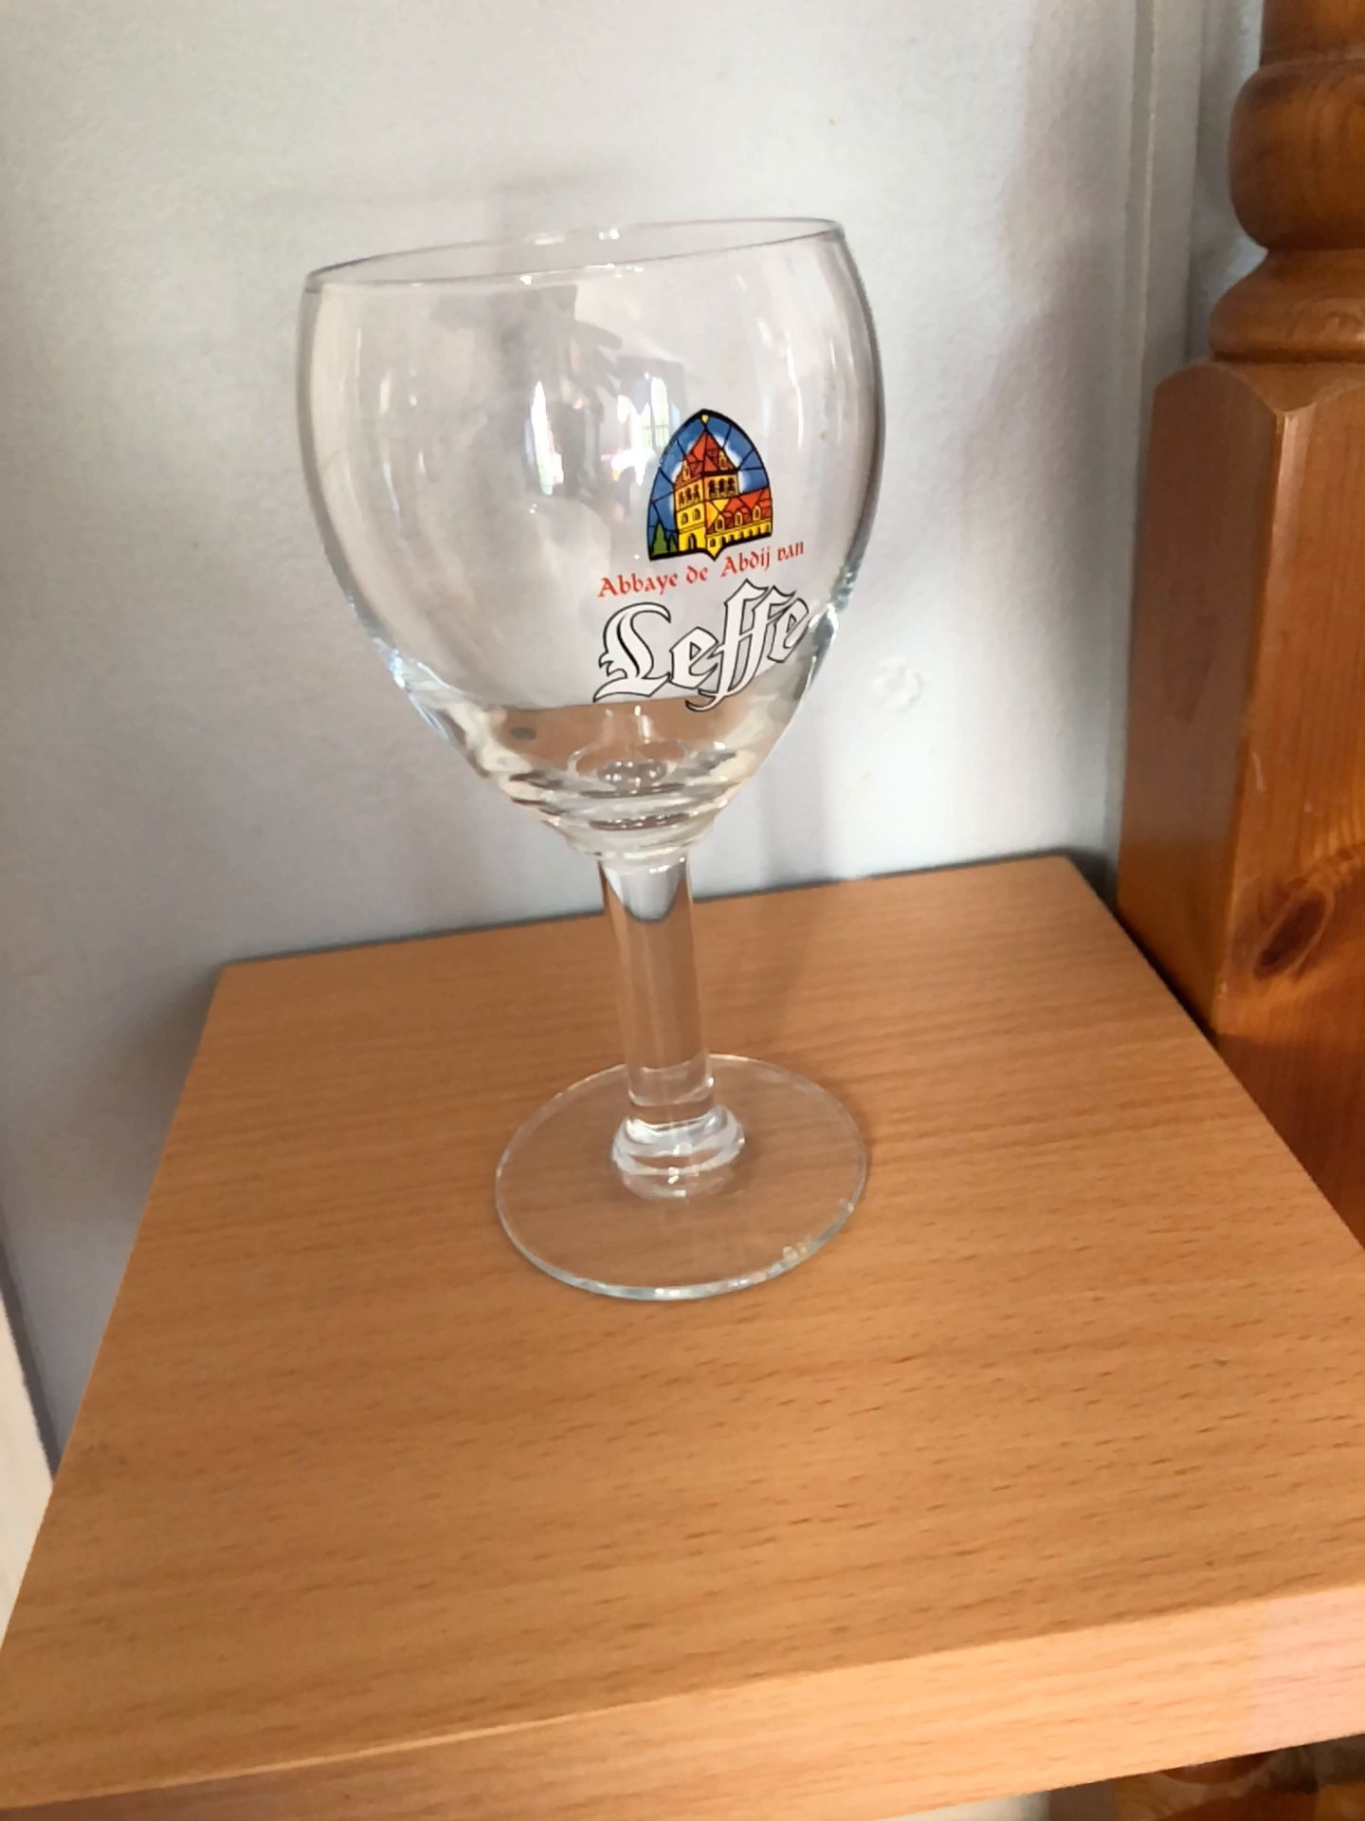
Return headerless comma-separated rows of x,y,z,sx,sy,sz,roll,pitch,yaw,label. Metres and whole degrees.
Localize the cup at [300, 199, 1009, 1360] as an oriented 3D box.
-0.006,-0.031,0.294,0.095,0.185,0.100,-3,23,1,cup
